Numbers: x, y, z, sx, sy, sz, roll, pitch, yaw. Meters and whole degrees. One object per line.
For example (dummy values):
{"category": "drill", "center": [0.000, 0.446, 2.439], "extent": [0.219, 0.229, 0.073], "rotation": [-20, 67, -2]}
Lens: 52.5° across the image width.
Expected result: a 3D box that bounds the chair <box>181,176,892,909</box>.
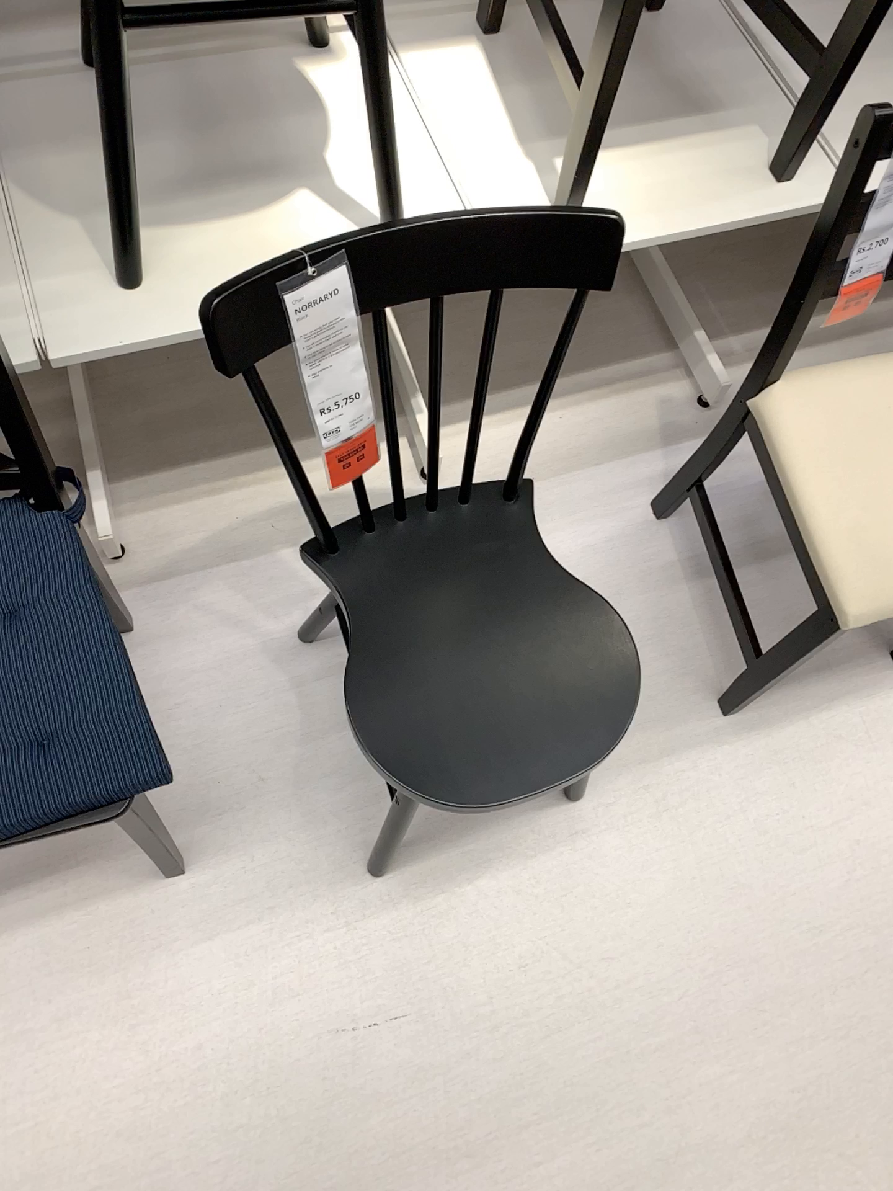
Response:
{"category": "chair", "center": [0.022, 0.016, 1.151], "extent": [0.470, 0.789, 0.520], "rotation": [-16, 68, -14]}
